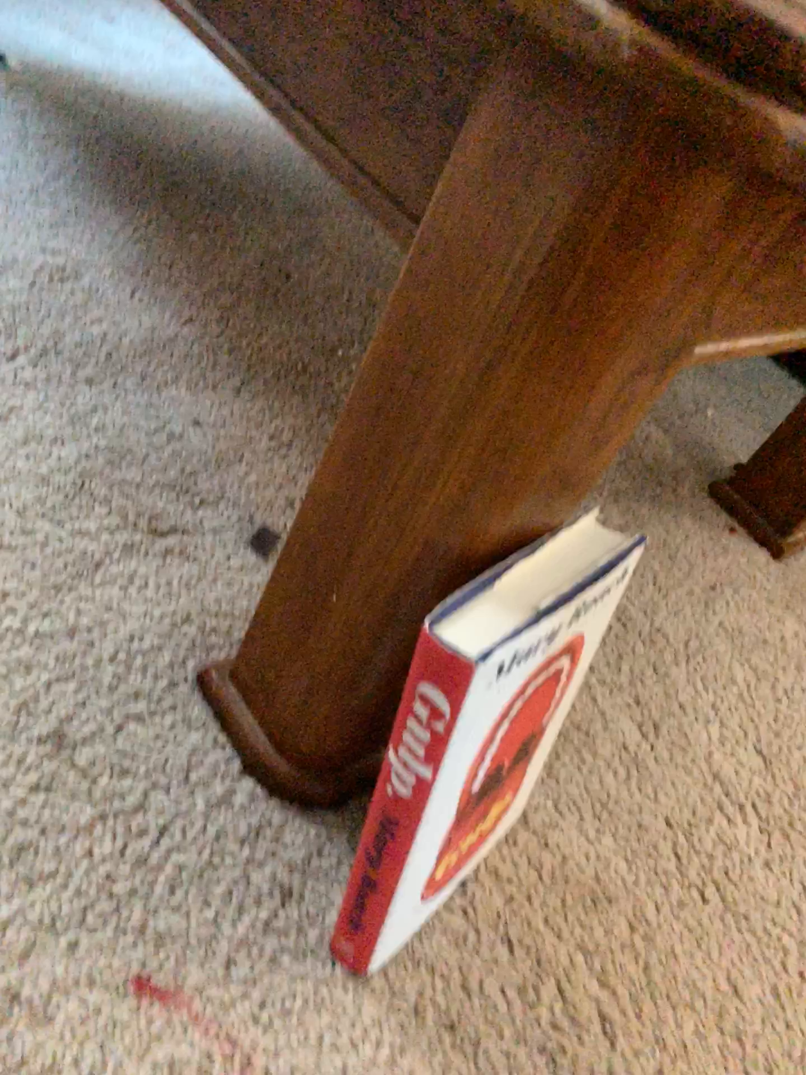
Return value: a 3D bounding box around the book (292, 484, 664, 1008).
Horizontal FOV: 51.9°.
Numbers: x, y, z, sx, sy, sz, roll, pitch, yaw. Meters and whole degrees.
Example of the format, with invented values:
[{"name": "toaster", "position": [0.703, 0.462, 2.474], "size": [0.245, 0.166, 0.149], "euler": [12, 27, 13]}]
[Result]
[{"name": "book", "position": [0.033, 0.102, 0.407], "size": [0.040, 0.229, 0.161], "euler": [34, 38, 26]}]
